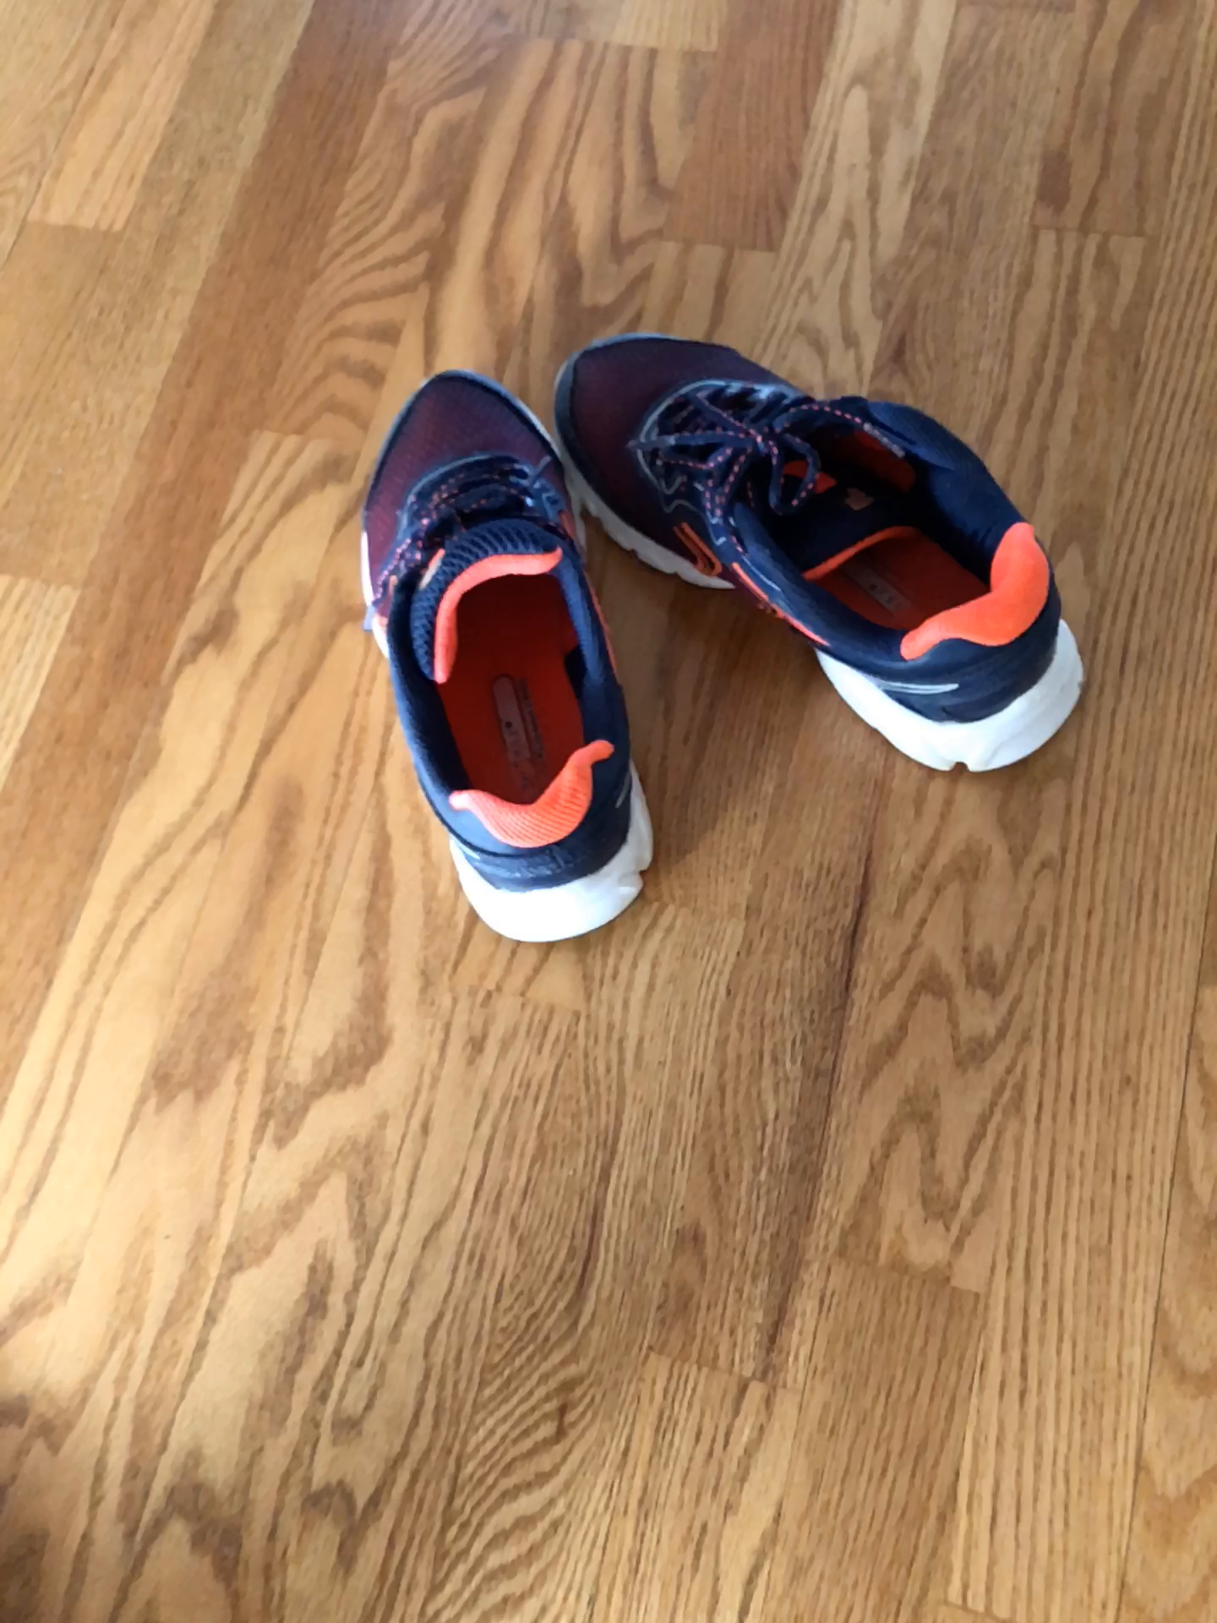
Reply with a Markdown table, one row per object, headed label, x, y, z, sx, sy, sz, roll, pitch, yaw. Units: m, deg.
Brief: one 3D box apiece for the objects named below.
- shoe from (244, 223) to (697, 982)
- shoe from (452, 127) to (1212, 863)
| label | x | y | z | sx | sy | sz | roll | pitch | yaw |
| --- | --- | --- | --- | --- | --- | --- | --- | --- | --- |
| shoe | -0.057 | -0.084 | 0.551 | 0.108 | 0.110 | 0.270 | -16 | 69 | 3 |
| shoe | 0.079 | -0.130 | 0.546 | 0.116 | 0.110 | 0.278 | -41 | 70 | -7 |
